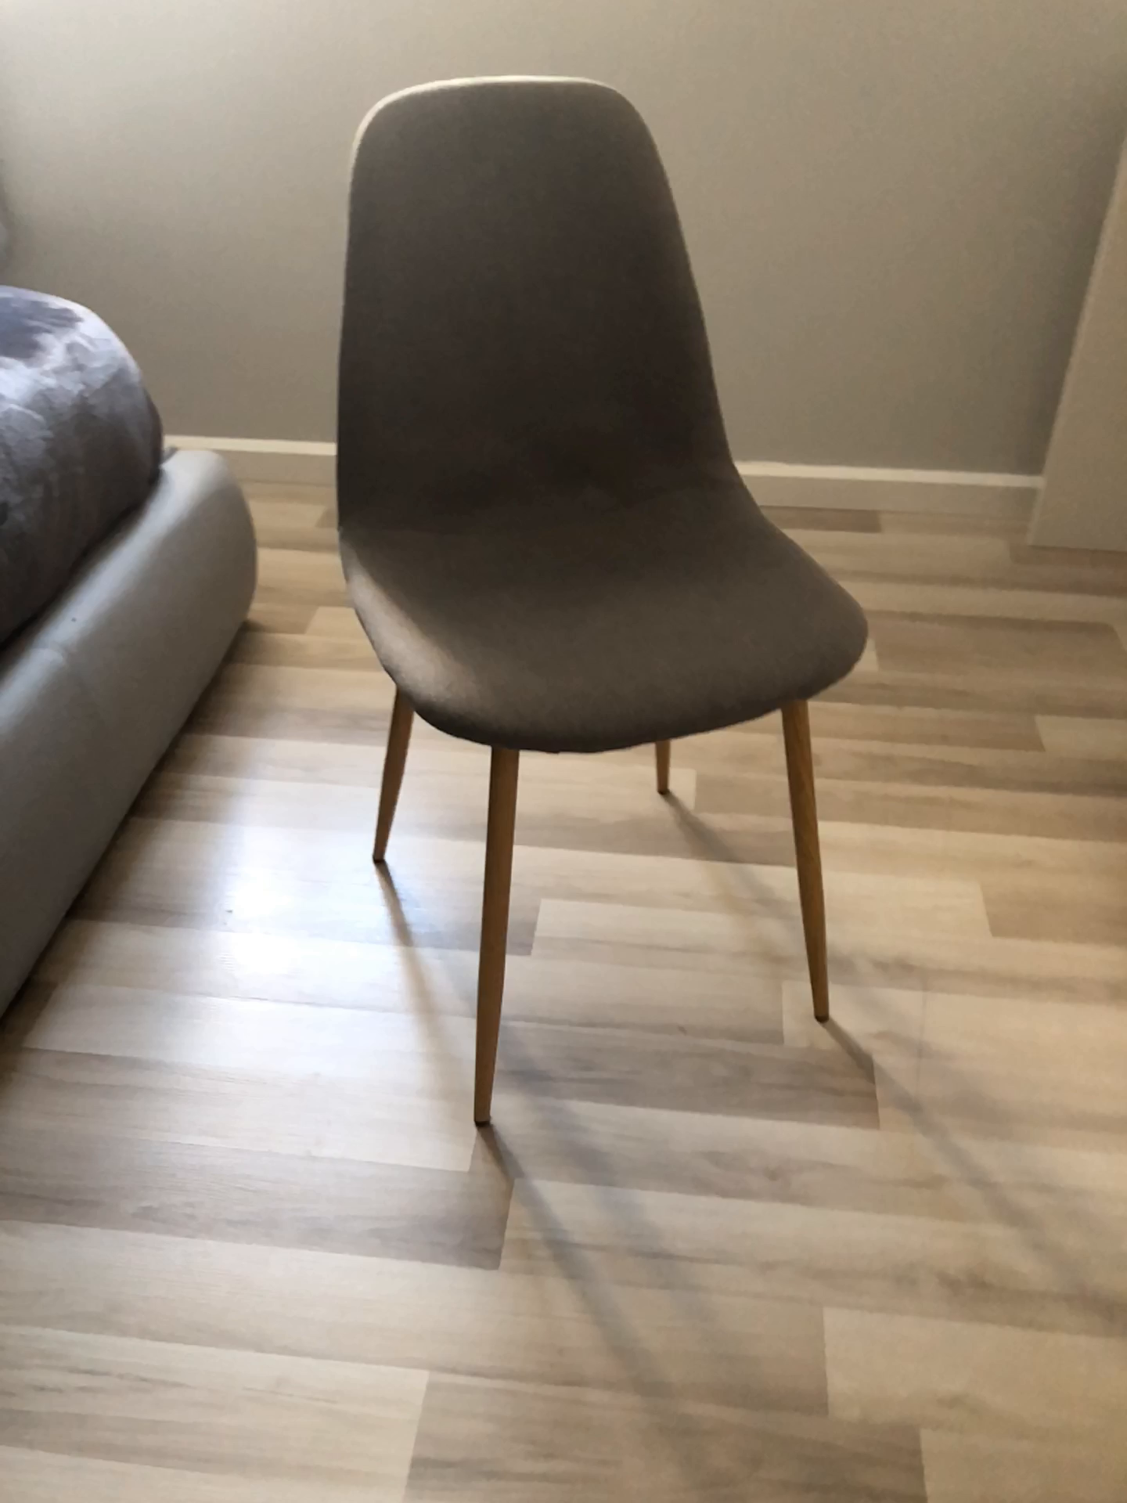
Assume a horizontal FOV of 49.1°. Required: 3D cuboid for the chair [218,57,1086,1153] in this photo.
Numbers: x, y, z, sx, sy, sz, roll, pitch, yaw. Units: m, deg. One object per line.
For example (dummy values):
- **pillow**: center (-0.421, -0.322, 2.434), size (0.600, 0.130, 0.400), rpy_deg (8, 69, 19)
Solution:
- **chair**: center (0.014, -0.164, 1.165), size (0.471, 0.785, 0.572), rpy_deg (-12, 37, -17)
